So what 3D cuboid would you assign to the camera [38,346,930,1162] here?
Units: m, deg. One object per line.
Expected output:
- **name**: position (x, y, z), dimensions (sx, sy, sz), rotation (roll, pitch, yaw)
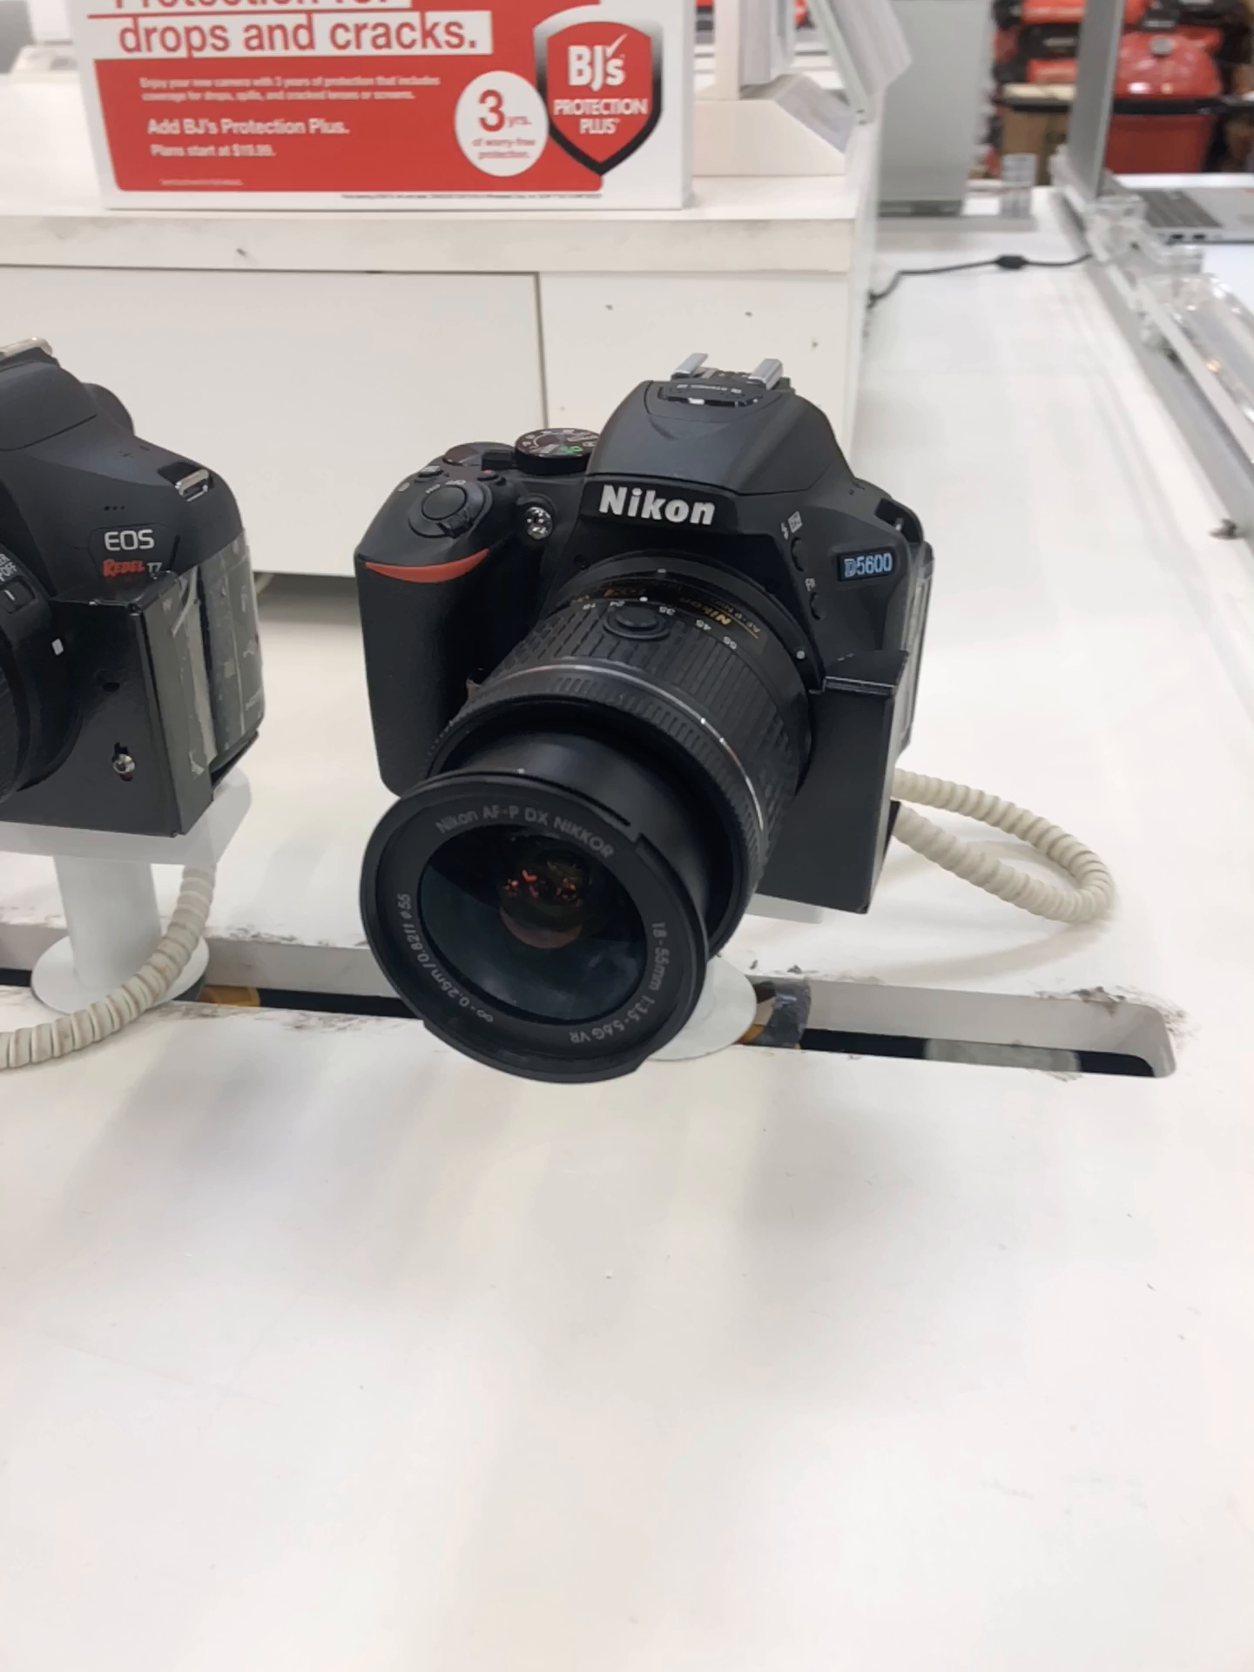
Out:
- **camera**: position (-0.009, -0.031, 0.271), dimensions (0.120, 0.089, 0.151), rotation (6, 32, 11)
